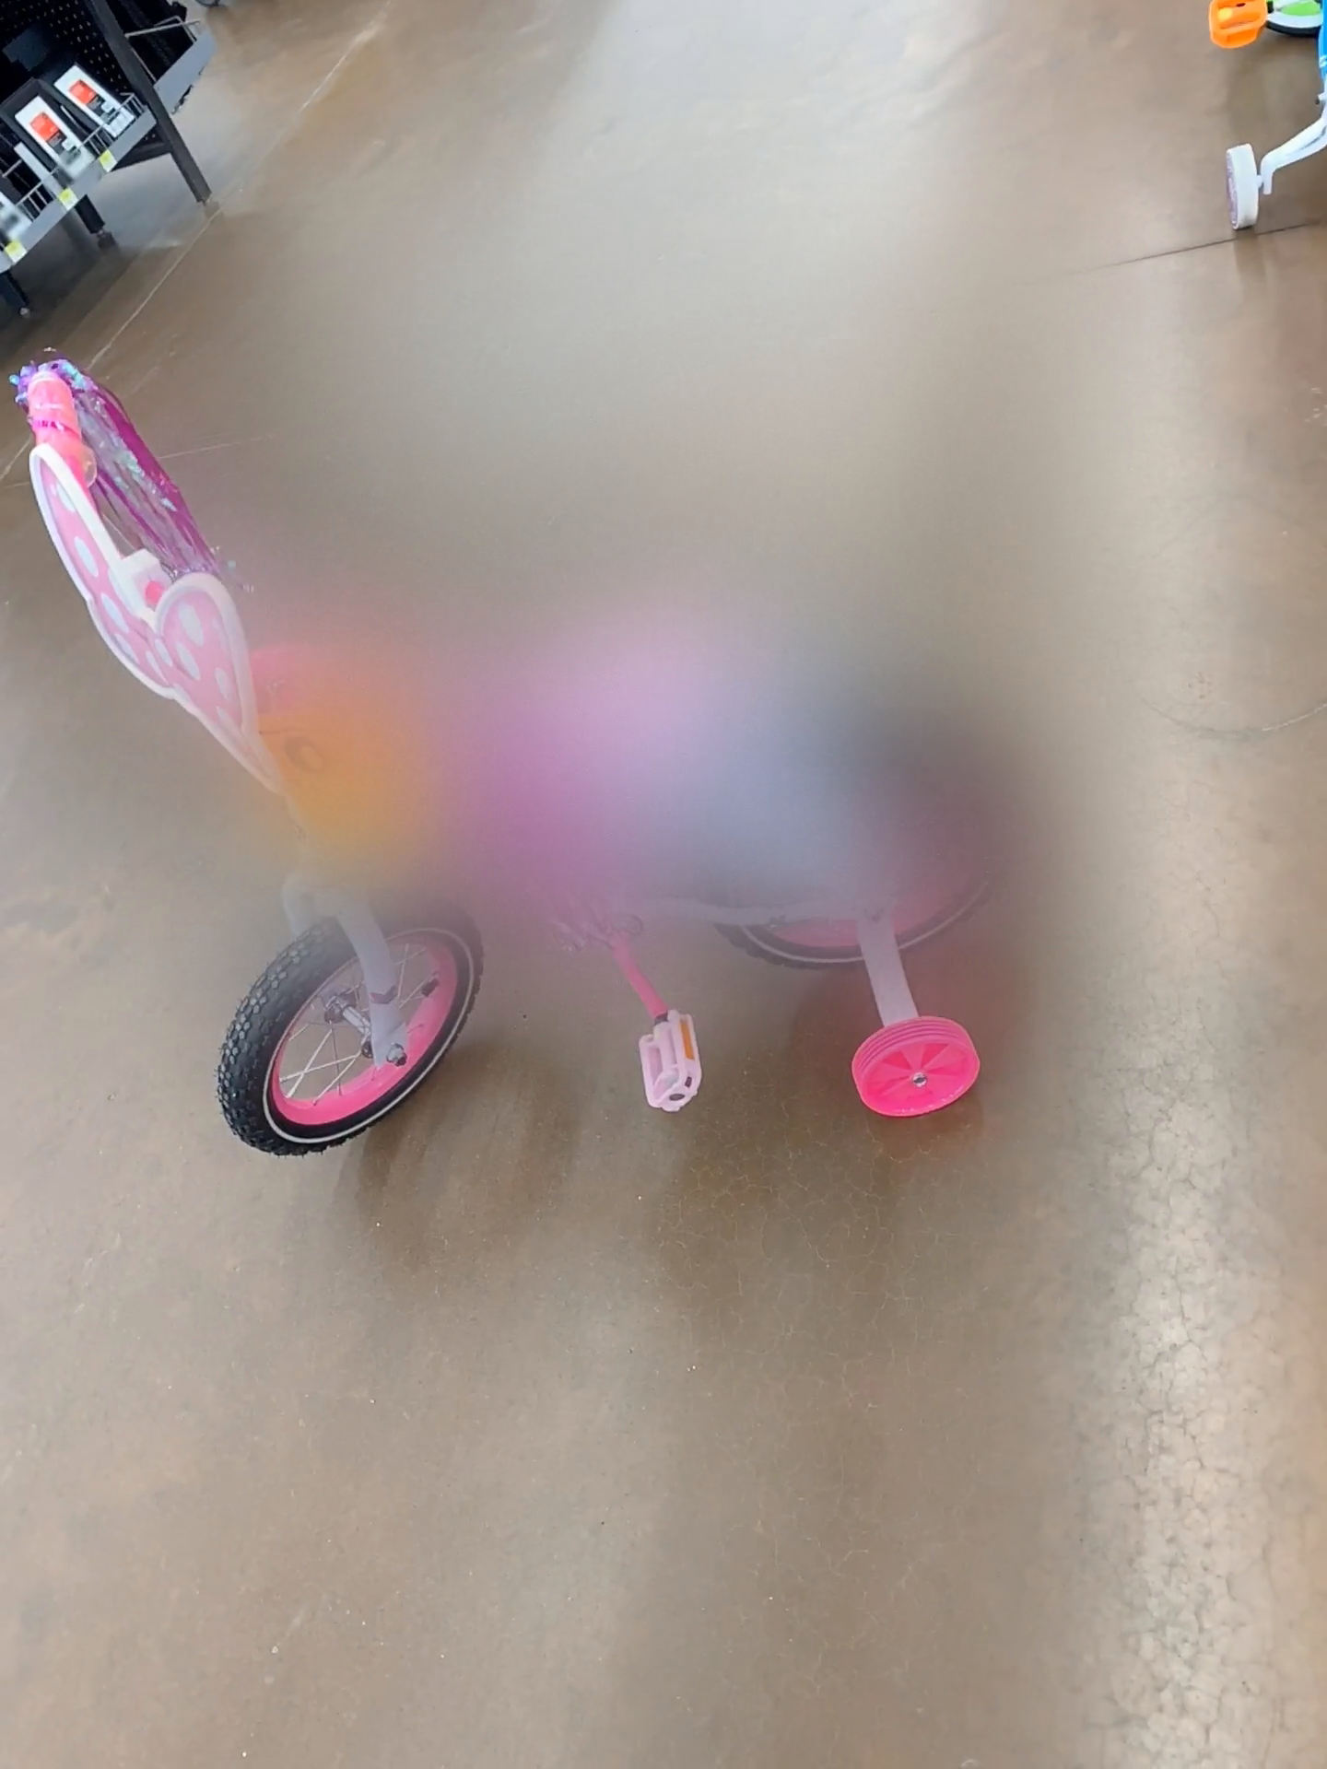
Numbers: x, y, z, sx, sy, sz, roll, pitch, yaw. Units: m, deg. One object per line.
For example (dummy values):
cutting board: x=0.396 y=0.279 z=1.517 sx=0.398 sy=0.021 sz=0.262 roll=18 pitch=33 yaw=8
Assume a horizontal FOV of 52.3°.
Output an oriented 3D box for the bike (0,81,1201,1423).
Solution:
bike: x=-0.095 y=-0.055 z=1.059 sx=0.759 sy=0.750 sz=0.445 roll=-26 pitch=45 yaw=-1
